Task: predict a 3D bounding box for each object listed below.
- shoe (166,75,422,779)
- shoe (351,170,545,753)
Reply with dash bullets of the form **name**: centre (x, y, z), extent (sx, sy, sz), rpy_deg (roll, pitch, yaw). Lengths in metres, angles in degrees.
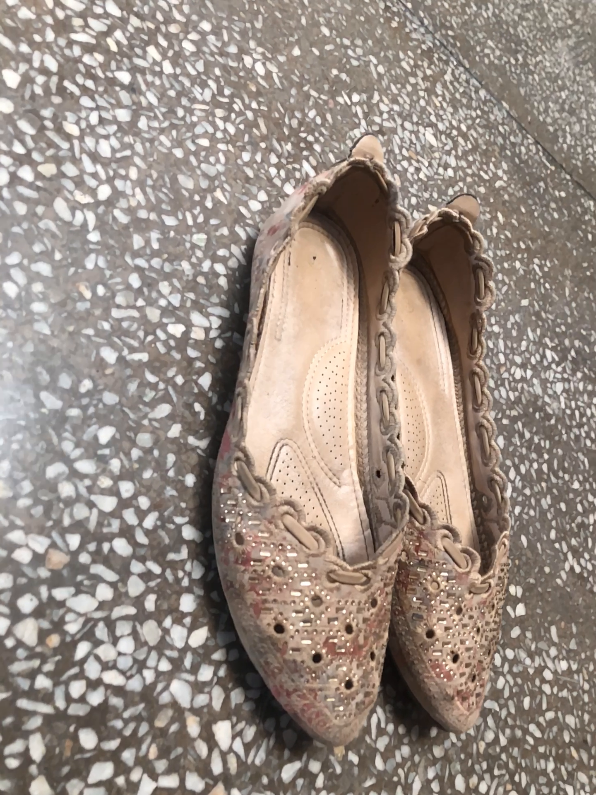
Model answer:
- **shoe**: centre (-0.001, 0.001, 0.293), extent (0.090, 0.040, 0.280), rpy_deg (14, 65, -37)
- **shoe**: centre (0.075, 0.026, 0.344), extent (0.090, 0.040, 0.270), rpy_deg (14, 69, -37)
